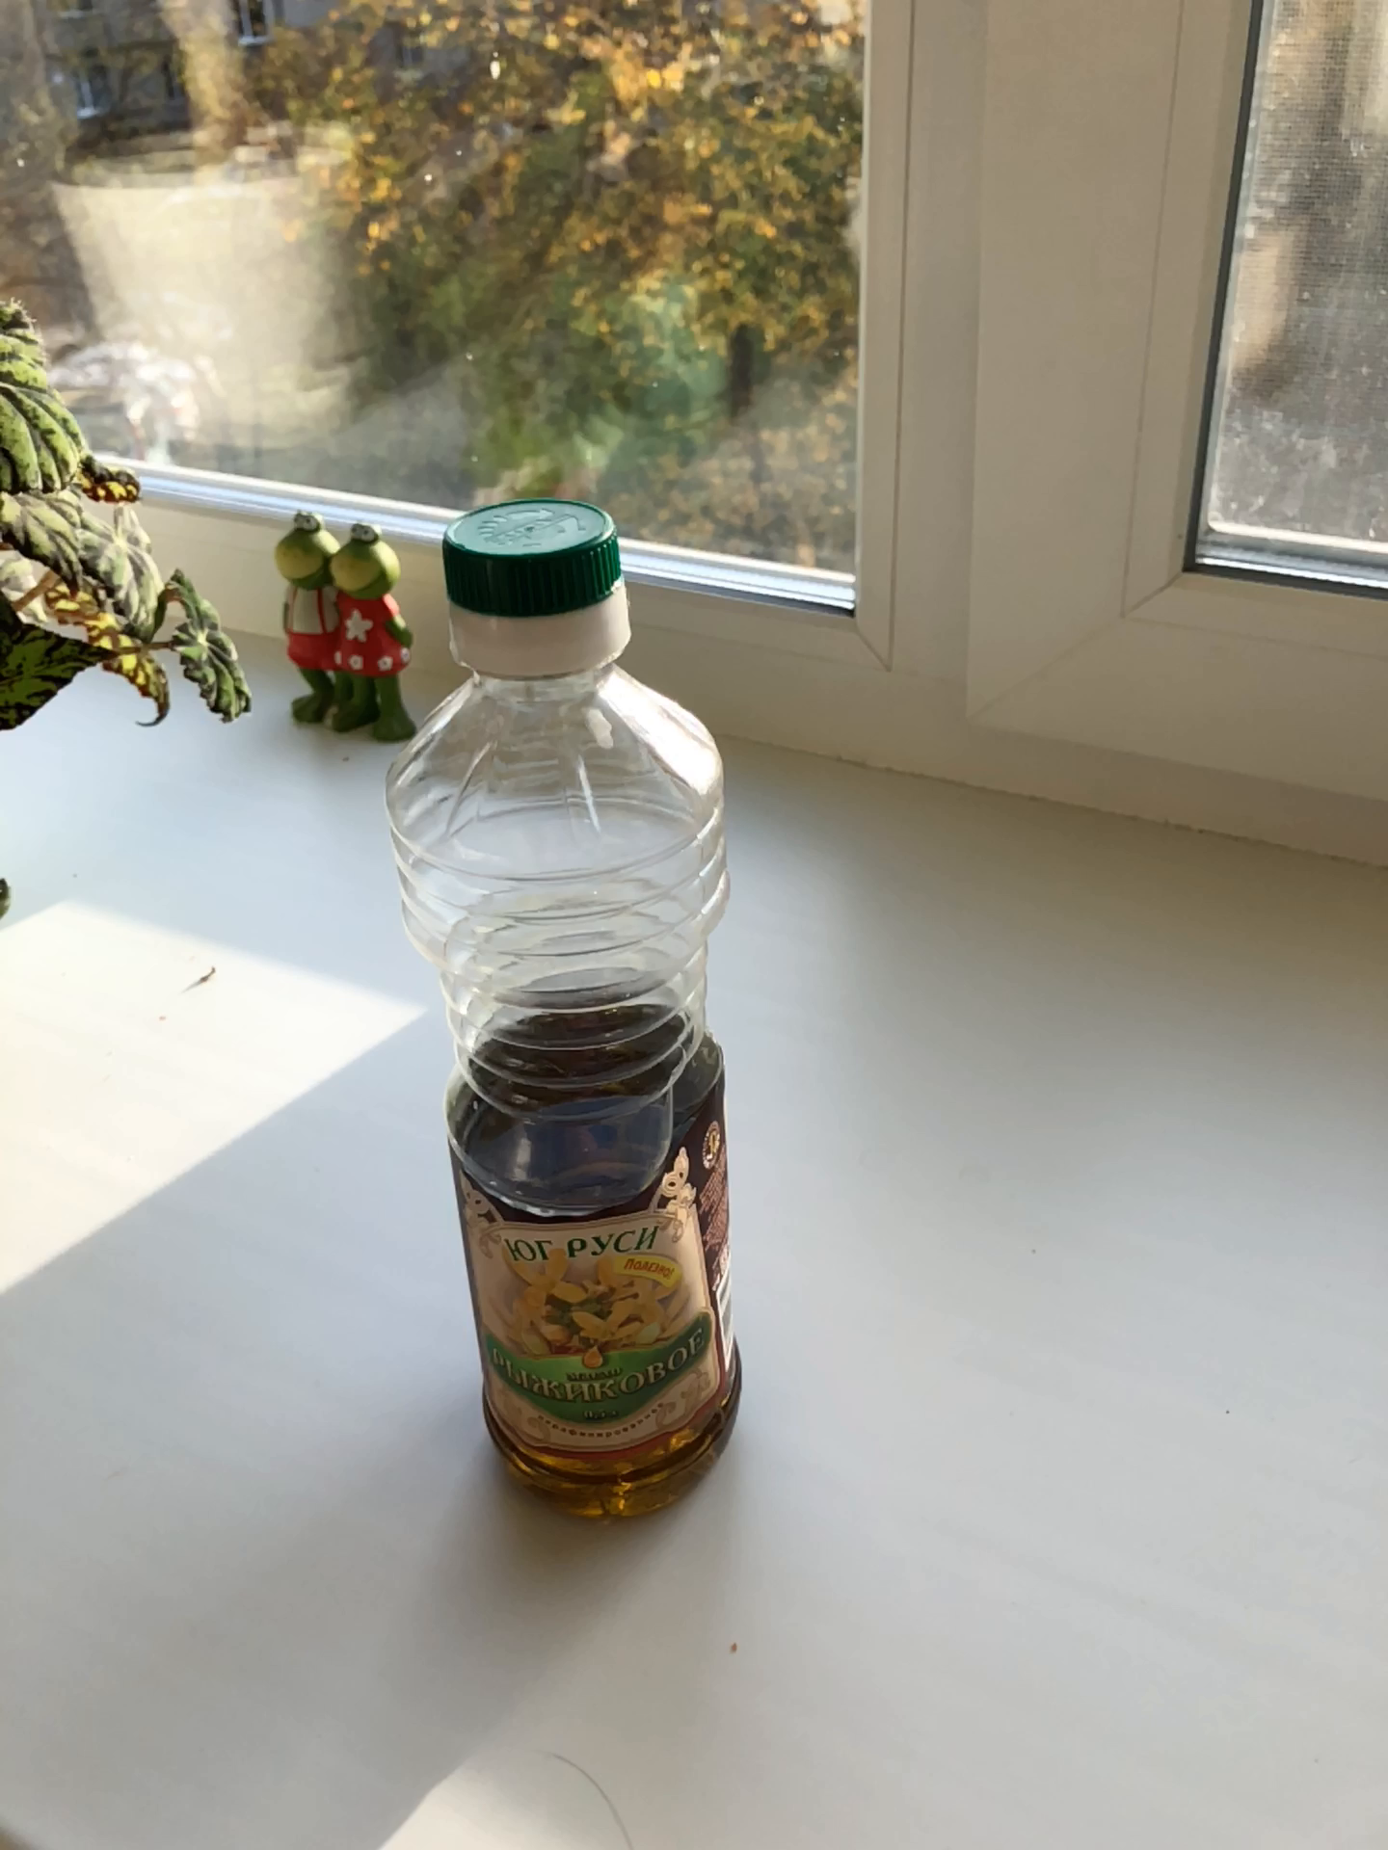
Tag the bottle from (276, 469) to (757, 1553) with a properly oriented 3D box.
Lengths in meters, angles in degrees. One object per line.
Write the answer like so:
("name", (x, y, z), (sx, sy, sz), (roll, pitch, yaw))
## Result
("bottle", (-0.023, 0.027, 0.309), (0.061, 0.217, 0.068), (3, 34, 8))
